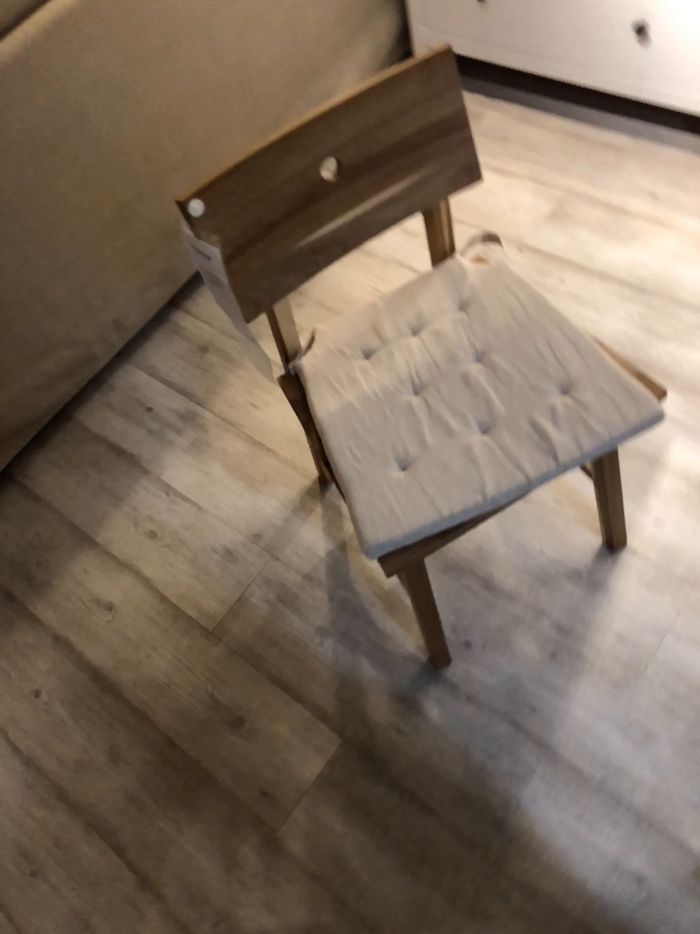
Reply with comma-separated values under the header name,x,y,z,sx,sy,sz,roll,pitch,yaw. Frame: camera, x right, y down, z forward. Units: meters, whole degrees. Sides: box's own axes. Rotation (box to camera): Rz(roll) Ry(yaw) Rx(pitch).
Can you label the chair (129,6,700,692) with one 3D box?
name,x,y,z,sx,sy,sz,roll,pitch,yaw
chair,0.138,-0.125,1.064,0.500,0.599,0.531,-32,59,-7
